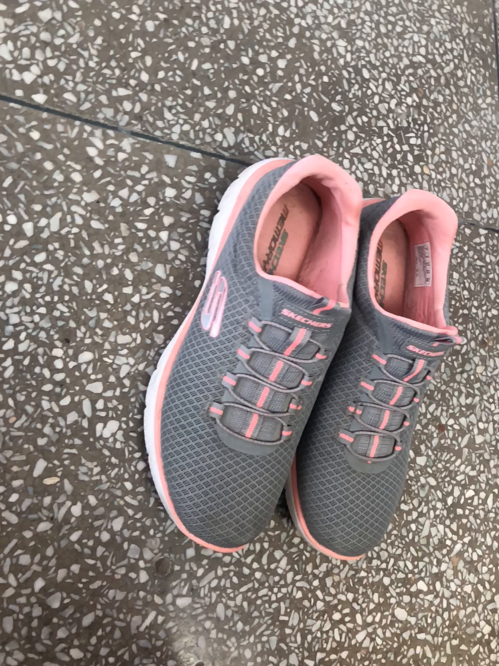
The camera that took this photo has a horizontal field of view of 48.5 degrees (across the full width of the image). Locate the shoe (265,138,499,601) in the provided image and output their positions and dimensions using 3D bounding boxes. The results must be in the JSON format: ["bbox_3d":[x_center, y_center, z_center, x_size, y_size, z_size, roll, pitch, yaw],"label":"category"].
[{"bbox_3d":[0.099,0.024,0.363,0.102,0.108,0.246,16,74,-22],"label":"shoe"}]

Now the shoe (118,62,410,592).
[{"bbox_3d":[0.011,-0.002,0.320,0.097,0.095,0.252,16,74,-22],"label":"shoe"}]
